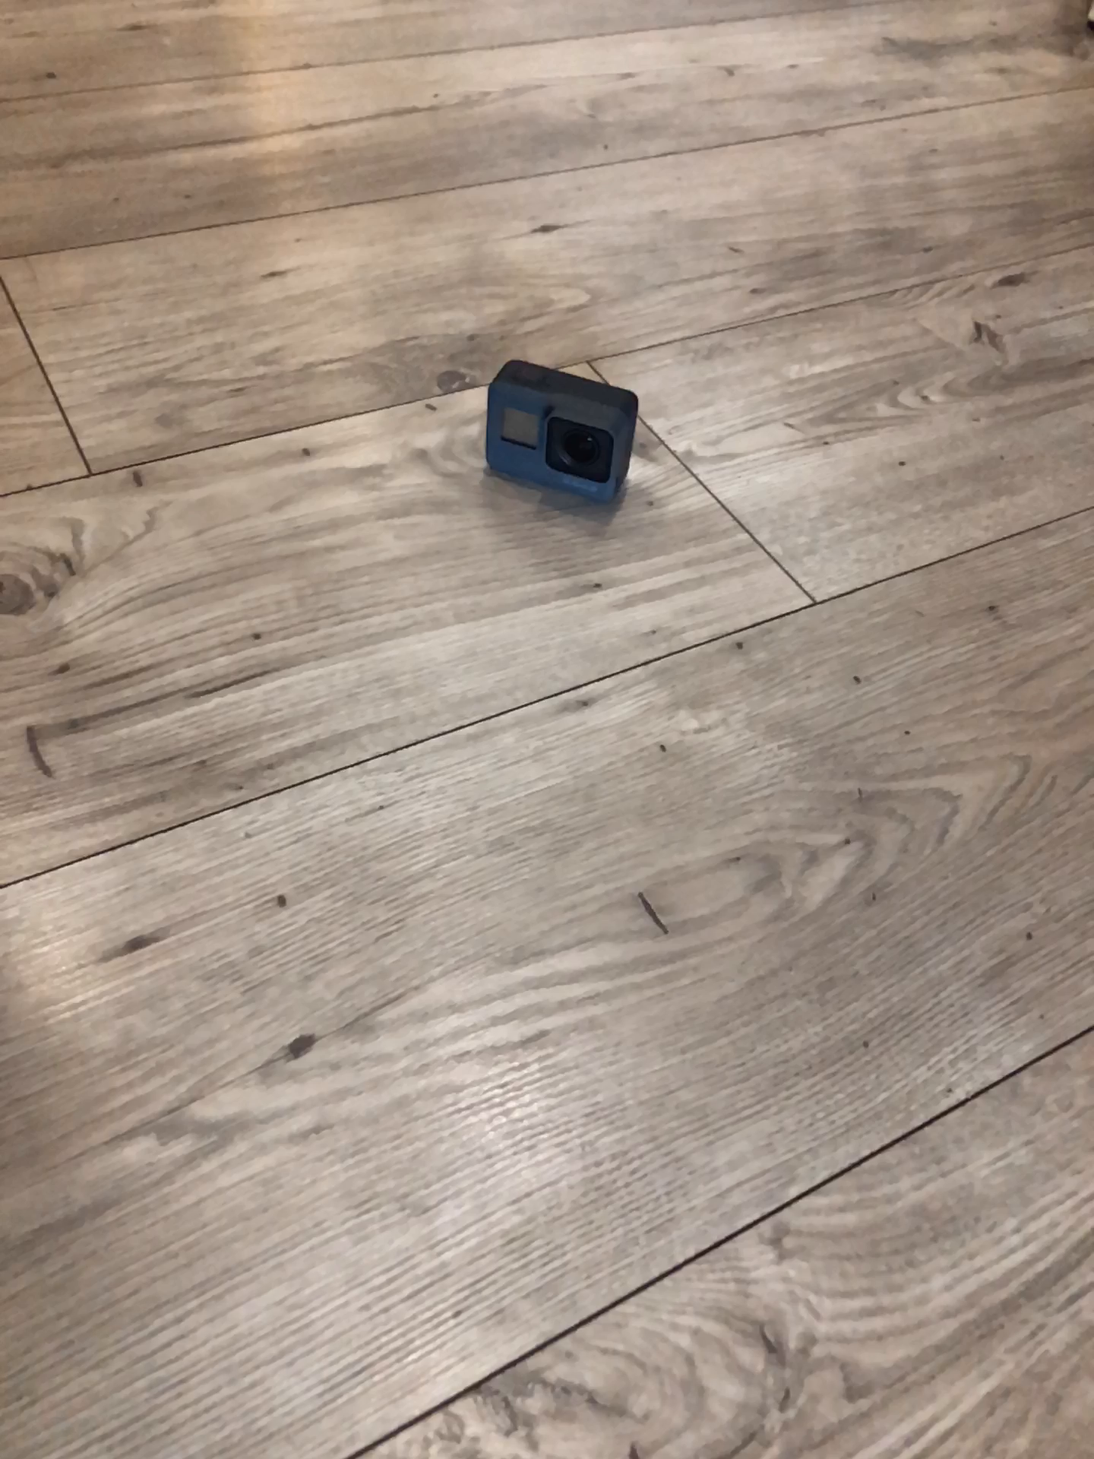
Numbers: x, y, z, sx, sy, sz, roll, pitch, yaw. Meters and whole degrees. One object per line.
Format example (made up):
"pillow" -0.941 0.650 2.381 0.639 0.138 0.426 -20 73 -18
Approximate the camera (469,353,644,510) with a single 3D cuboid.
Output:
"camera" 0.003 -0.127 0.516 0.065 0.040 0.032 18 49 10
